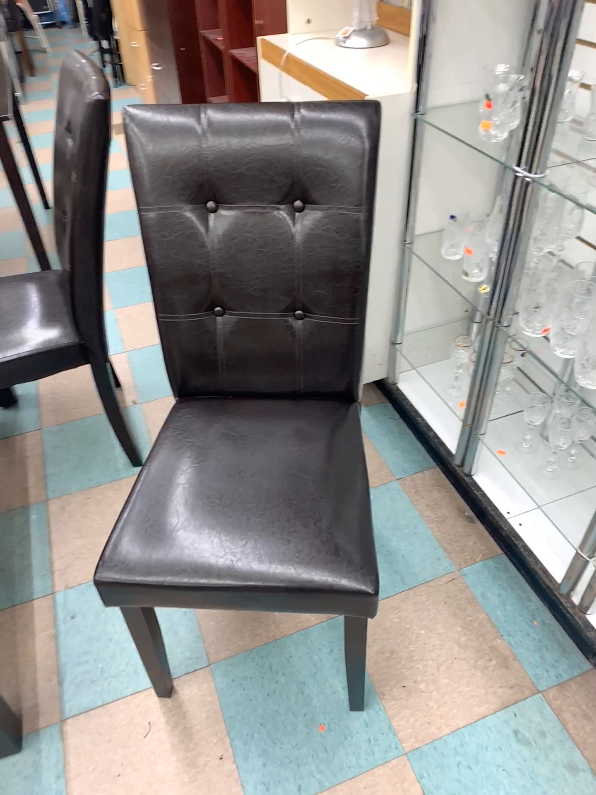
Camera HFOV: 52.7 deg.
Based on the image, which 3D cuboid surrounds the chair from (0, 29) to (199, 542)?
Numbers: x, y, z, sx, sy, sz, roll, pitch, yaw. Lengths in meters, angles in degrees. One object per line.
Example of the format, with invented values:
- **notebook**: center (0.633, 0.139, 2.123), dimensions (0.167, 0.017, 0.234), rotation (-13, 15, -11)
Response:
- **chair**: center (-0.730, -0.291, 1.528), dimensions (0.651, 0.955, 0.673), rotation (-18, 43, -16)

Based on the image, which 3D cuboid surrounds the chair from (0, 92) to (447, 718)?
- **chair**: center (-0.060, 0.057, 1.075), dimensions (0.470, 0.955, 0.573), rotation (1, 41, 5)
